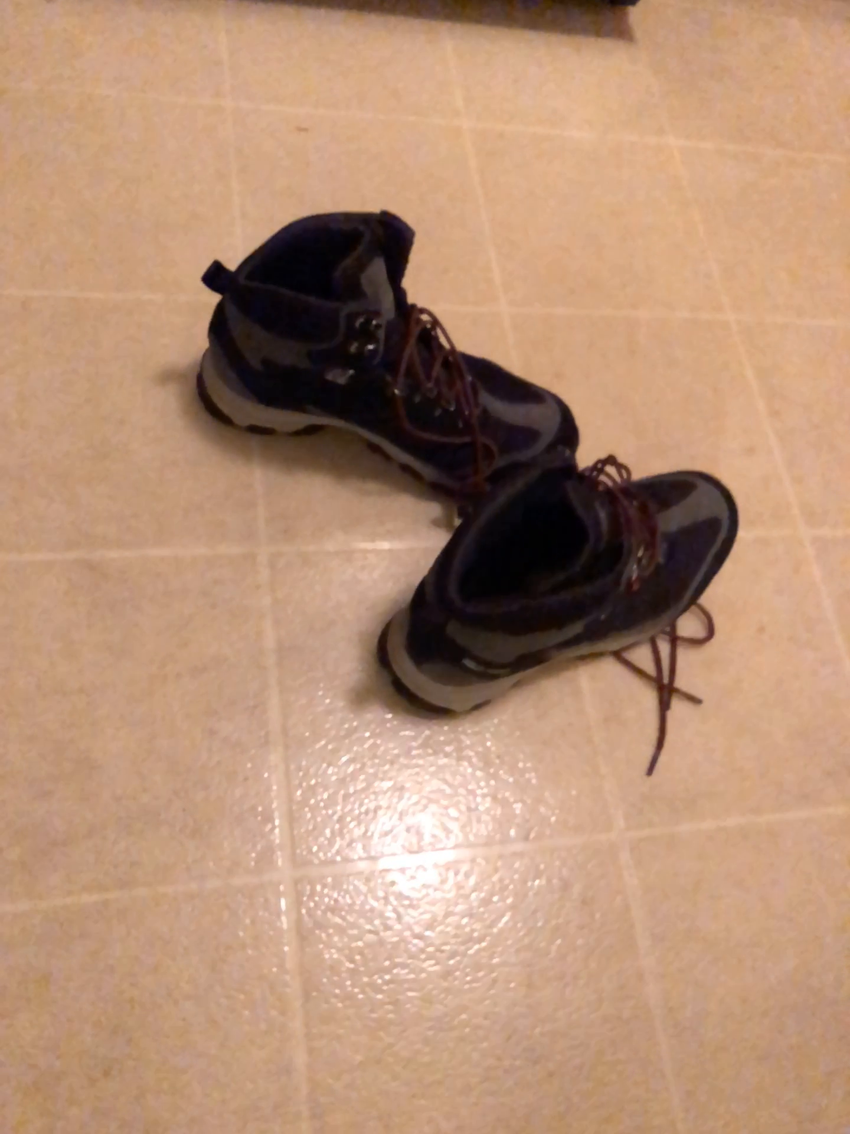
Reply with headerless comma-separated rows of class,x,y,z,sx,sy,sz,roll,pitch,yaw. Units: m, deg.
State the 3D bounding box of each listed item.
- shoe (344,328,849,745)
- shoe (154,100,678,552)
shoe,0.118,-0.017,0.633,0.300,0.195,0.116,-21,71,-22
shoe,-0.014,-0.154,0.667,0.309,0.195,0.127,18,62,-5
